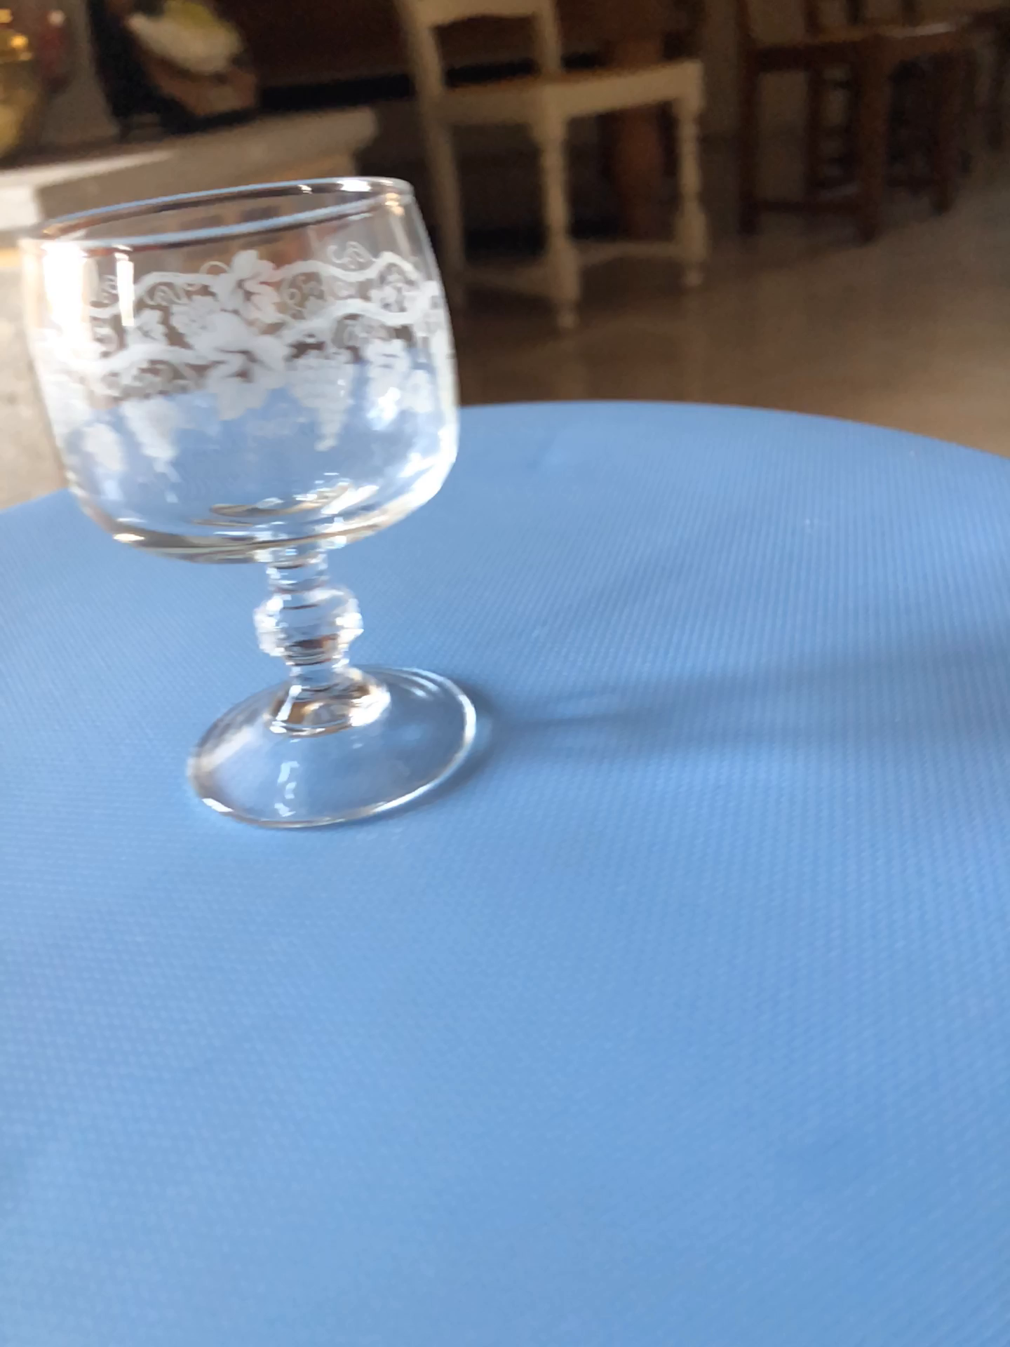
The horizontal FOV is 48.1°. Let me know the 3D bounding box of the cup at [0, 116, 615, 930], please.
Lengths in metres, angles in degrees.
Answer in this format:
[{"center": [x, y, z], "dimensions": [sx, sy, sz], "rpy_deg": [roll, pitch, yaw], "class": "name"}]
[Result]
[{"center": [-0.030, -0.026, 0.151], "dimensions": [0.060, 0.080, 0.060], "rpy_deg": [-5, 29, 3], "class": "cup"}]
